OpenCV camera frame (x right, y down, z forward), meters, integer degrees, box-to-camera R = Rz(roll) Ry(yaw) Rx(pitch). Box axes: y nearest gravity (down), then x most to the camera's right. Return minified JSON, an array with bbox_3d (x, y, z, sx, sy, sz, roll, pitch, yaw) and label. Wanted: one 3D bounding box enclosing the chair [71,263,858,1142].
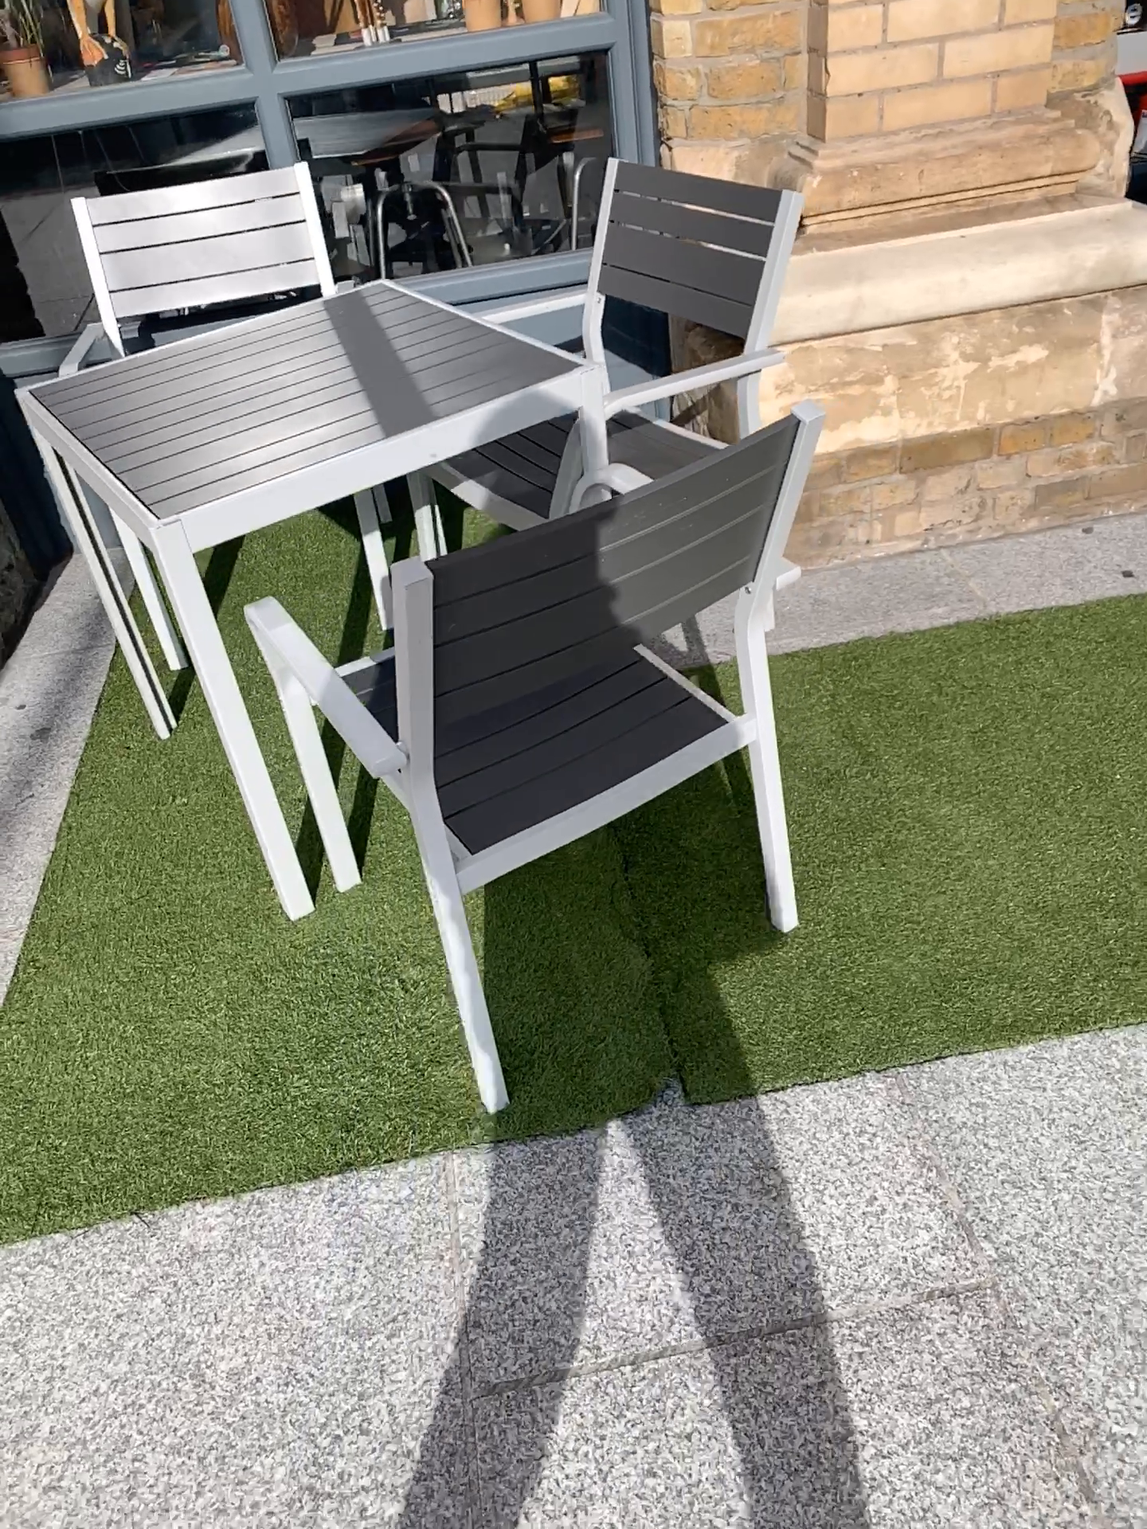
[{"bbox_3d":[-0.105,-0.131,1.597,0.683,0.802,0.650,-30,42,-25],"label":"chair"}]
